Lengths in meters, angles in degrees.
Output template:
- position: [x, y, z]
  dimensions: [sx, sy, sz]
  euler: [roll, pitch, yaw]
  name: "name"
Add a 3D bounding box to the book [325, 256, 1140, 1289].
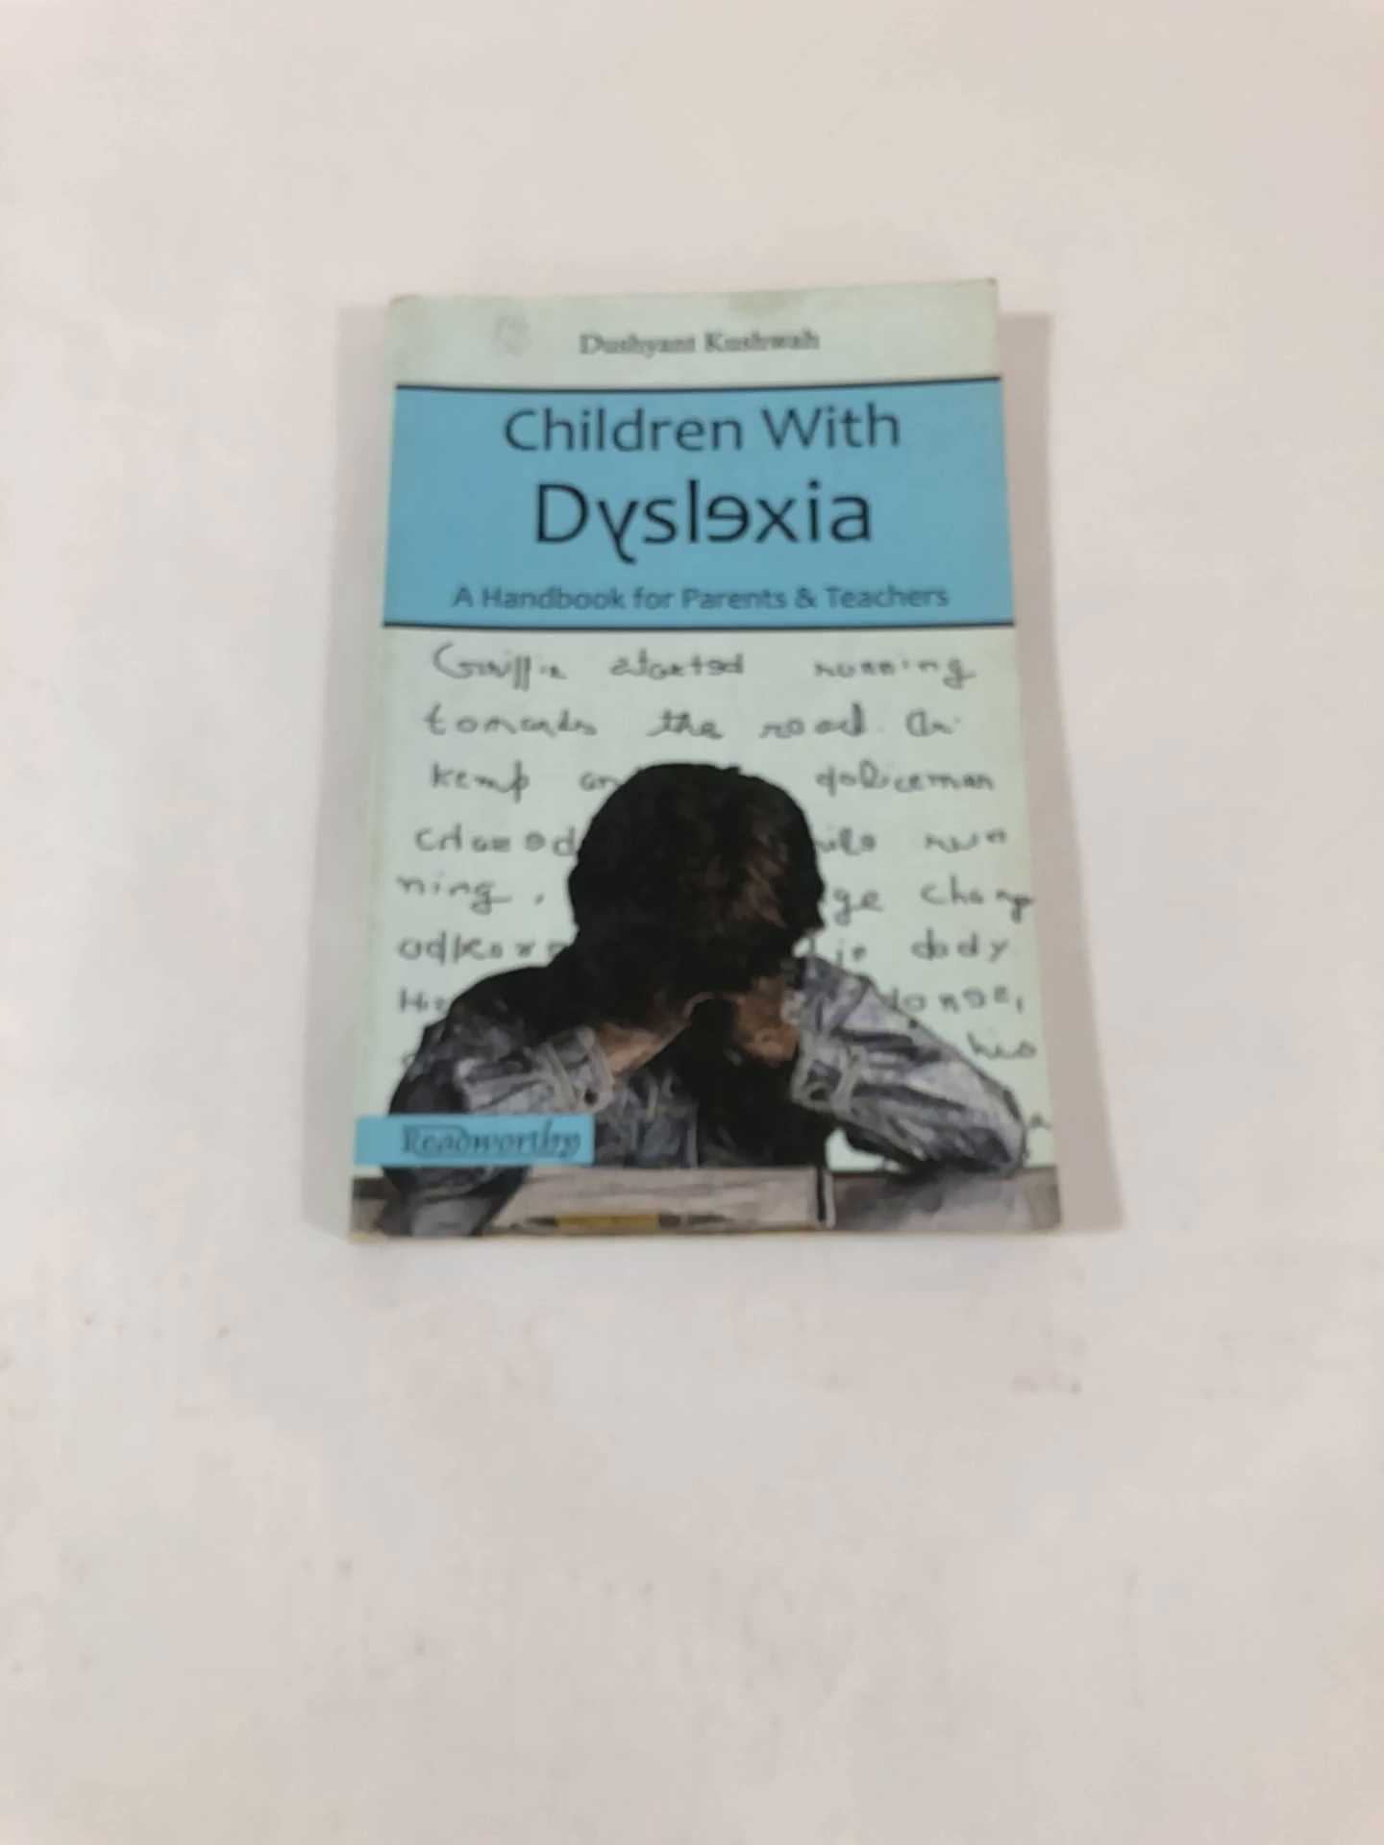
- position: [0.006, -0.037, 0.332]
  dimensions: [0.150, 0.030, 0.220]
  euler: [-1, 74, 0]
  name: "book"
